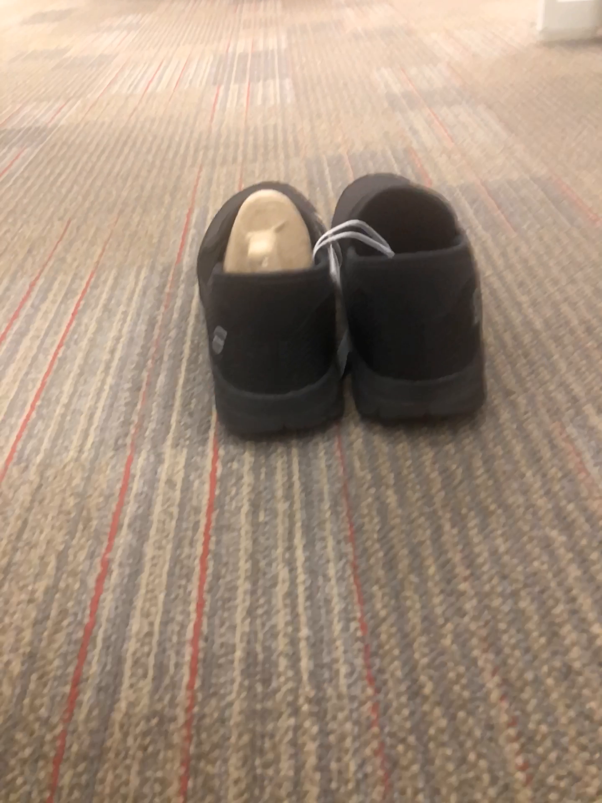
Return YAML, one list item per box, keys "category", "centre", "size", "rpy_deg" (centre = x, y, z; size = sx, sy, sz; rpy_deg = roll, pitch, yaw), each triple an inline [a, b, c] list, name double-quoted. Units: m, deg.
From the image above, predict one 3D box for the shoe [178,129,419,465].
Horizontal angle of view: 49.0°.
- category: "shoe"
  centre: [-0.005, -0.089, 0.452]
  size: [0.116, 0.105, 0.259]
  rpy_deg: [-6, 38, 0]

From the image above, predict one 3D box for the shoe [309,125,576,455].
- category: "shoe"
  centre: [0.074, -0.092, 0.453]
  size: [0.120, 0.109, 0.249]
  rpy_deg: [-5, 38, 1]
